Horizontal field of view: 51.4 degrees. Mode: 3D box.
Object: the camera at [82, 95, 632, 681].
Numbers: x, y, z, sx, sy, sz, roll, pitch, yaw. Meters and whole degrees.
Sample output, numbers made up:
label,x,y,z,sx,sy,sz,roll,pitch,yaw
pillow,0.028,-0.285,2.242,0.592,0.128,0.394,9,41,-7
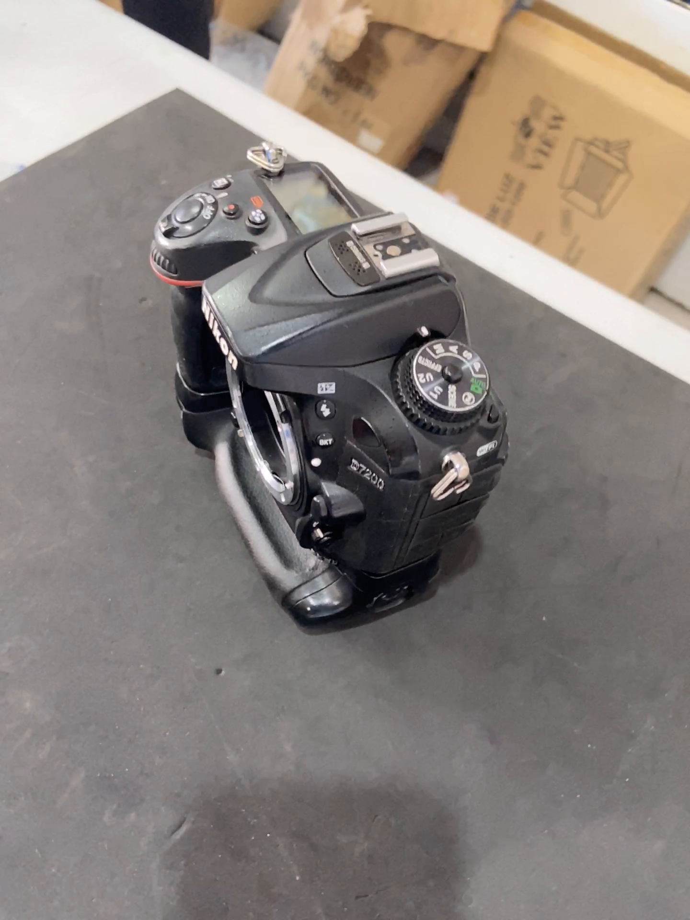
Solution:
label,x,y,z,sx,sy,sz,roll,pitch,yaw
camera,-0.008,-0.026,0.245,0.100,0.109,0.140,-21,61,-20
